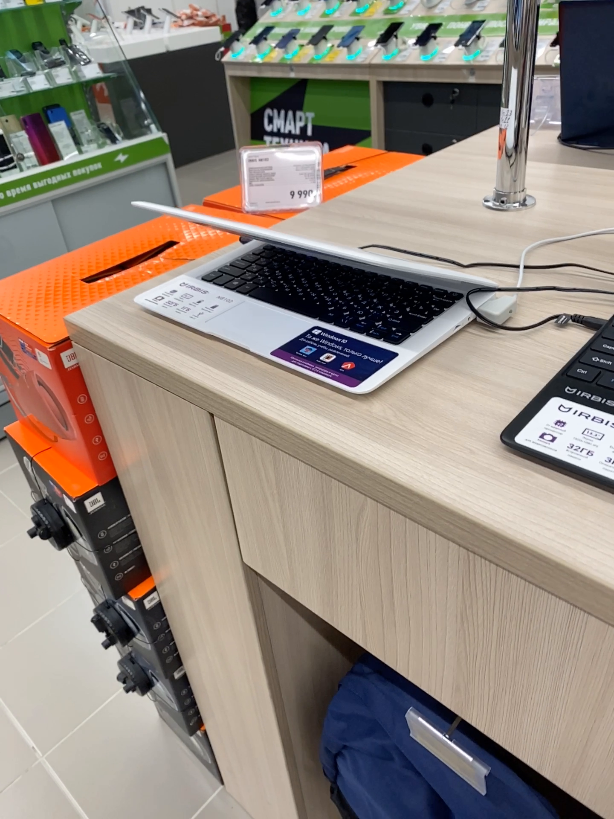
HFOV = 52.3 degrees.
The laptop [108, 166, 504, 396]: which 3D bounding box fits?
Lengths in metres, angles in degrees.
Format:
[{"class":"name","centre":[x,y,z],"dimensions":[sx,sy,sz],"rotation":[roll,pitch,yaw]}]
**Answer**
[{"class":"laptop","centre":[-0.008,-0.130,0.532],"dimensions":[0.281,0.078,0.178],"rotation":[24,46,37]}]
